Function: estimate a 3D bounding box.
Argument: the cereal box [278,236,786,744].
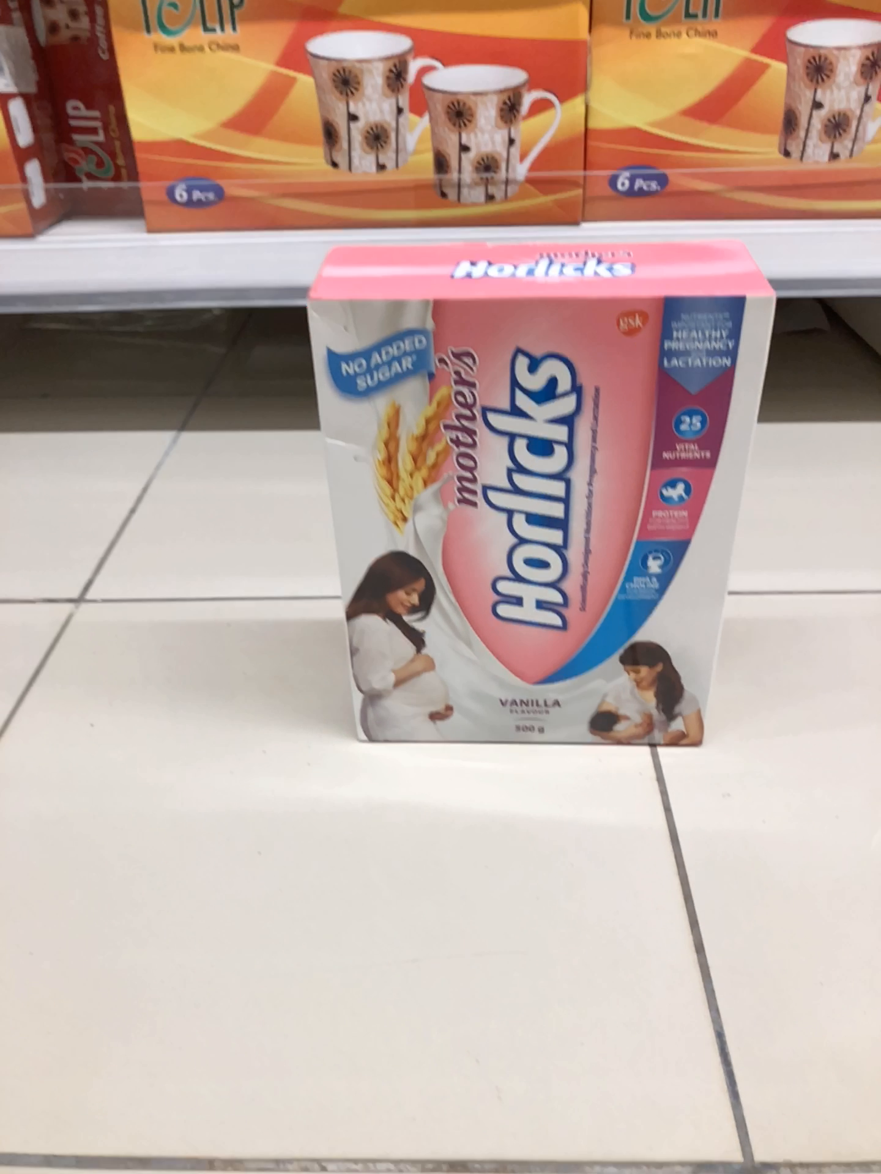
[{"bbox_3d":[0.032,-0.032,0.383,0.160,0.189,0.060,0,32,3],"label":"cereal box"}]
